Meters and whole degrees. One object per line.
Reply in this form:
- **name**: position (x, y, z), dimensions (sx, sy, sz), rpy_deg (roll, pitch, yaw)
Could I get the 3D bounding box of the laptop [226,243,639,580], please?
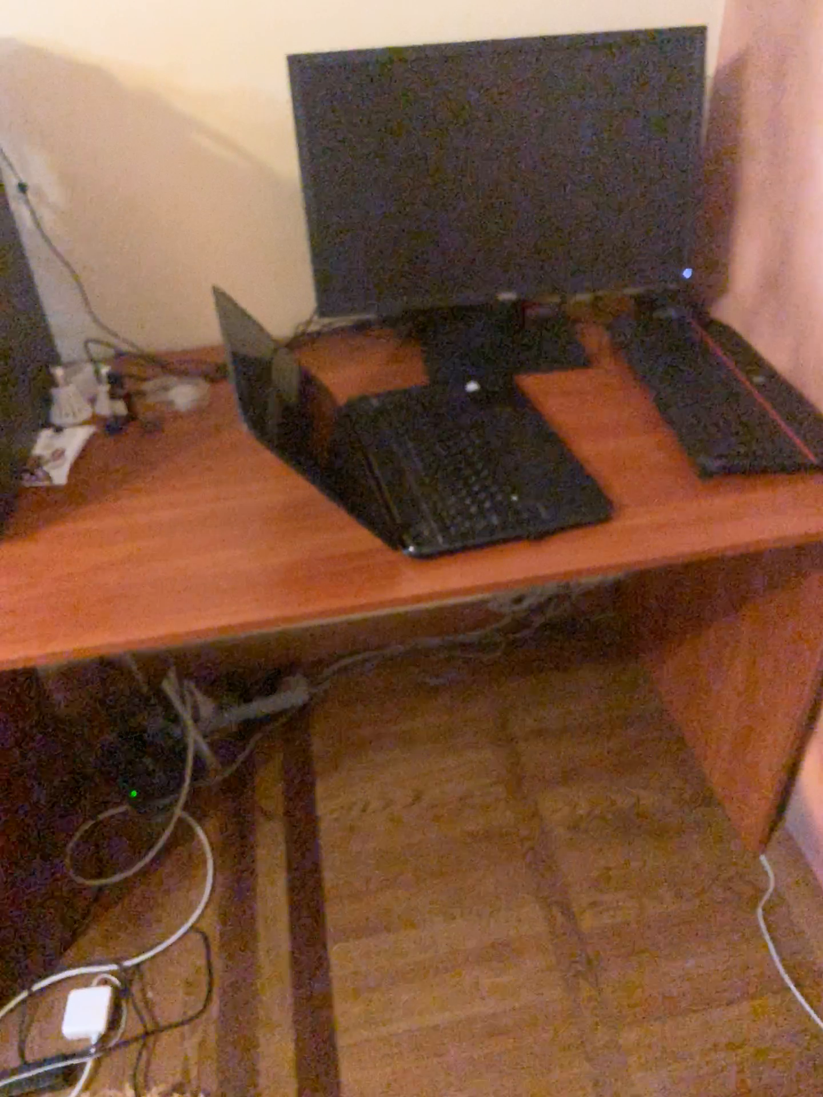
- **laptop**: position (-0.002, -0.182, 0.987), dimensions (0.368, 0.181, 0.367), rpy_deg (-12, 38, -8)
